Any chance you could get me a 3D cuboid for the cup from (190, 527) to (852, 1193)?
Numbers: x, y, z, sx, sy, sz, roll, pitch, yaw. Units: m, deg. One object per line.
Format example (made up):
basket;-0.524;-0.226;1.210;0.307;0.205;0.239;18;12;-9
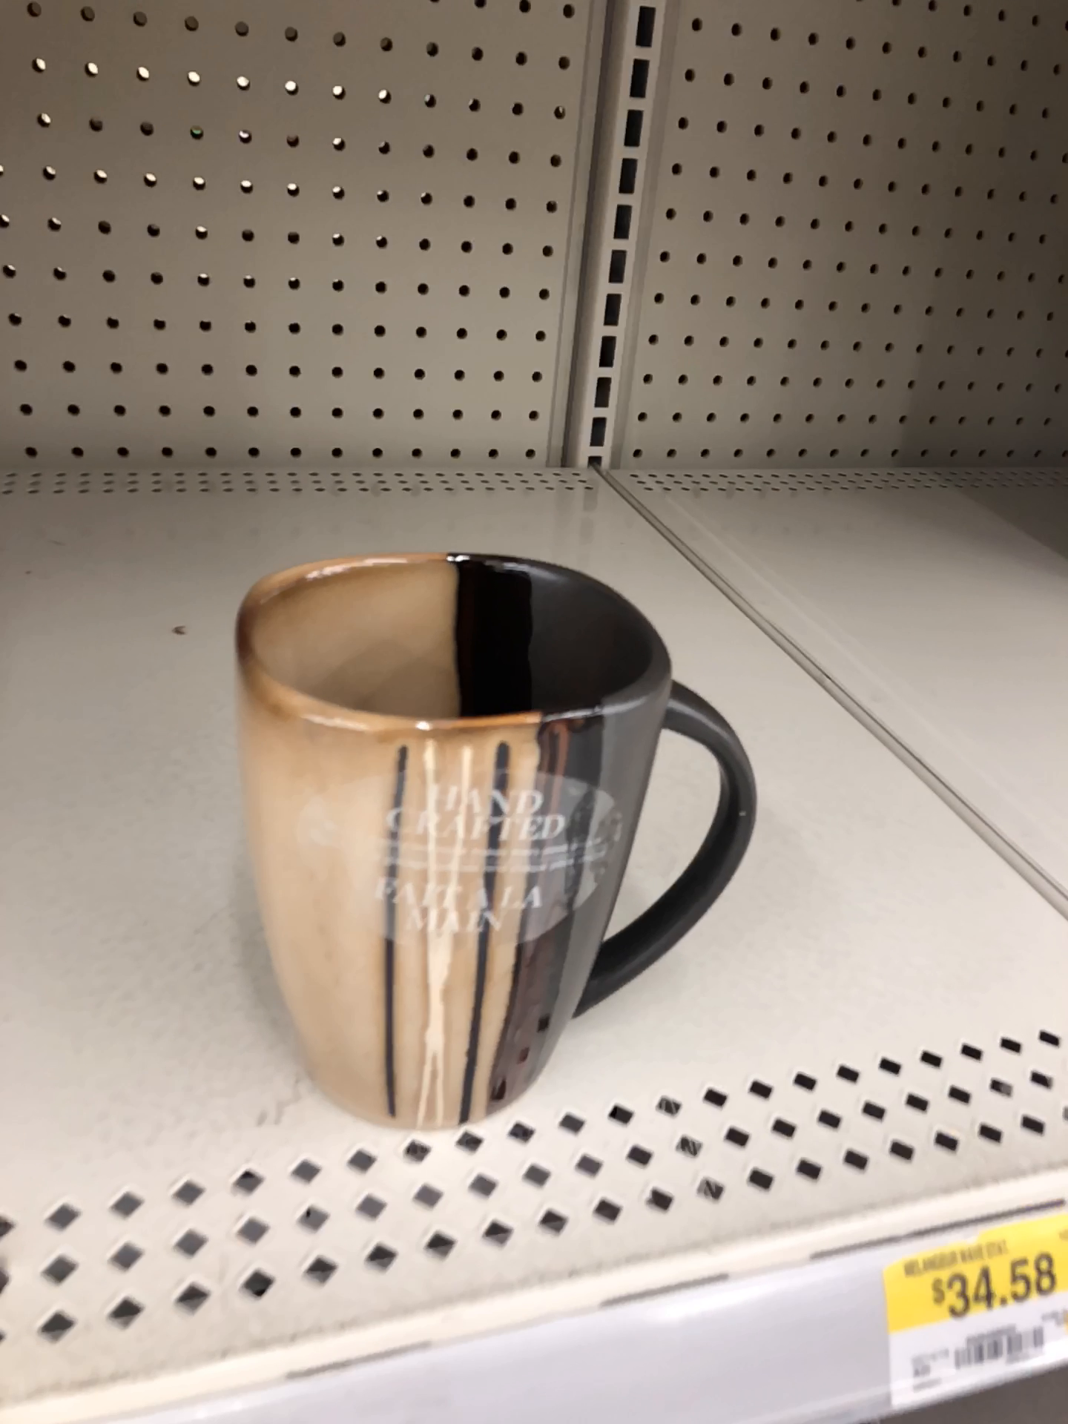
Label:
cup;-0.012;0.027;0.275;0.120;0.110;0.087;-5;30;-18
